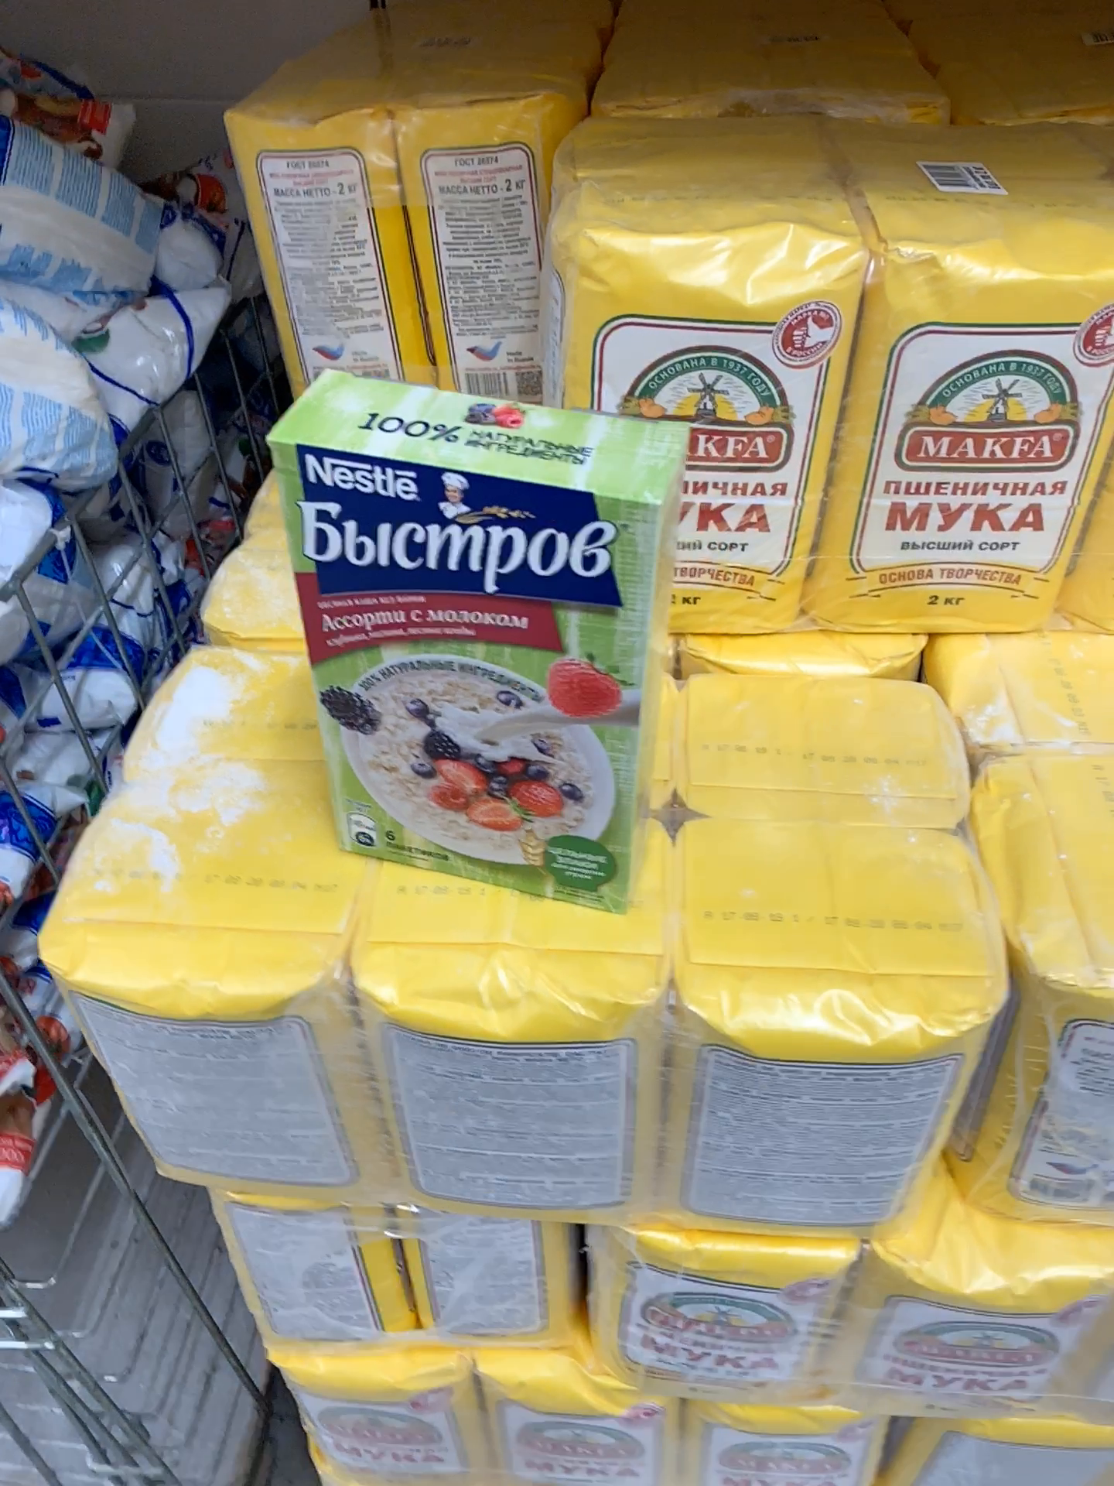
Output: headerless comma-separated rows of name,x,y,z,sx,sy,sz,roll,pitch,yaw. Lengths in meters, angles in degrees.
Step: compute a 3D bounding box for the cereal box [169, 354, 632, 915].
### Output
cereal box,-0.043,-0.028,0.385,0.120,0.178,0.050,12,47,11
